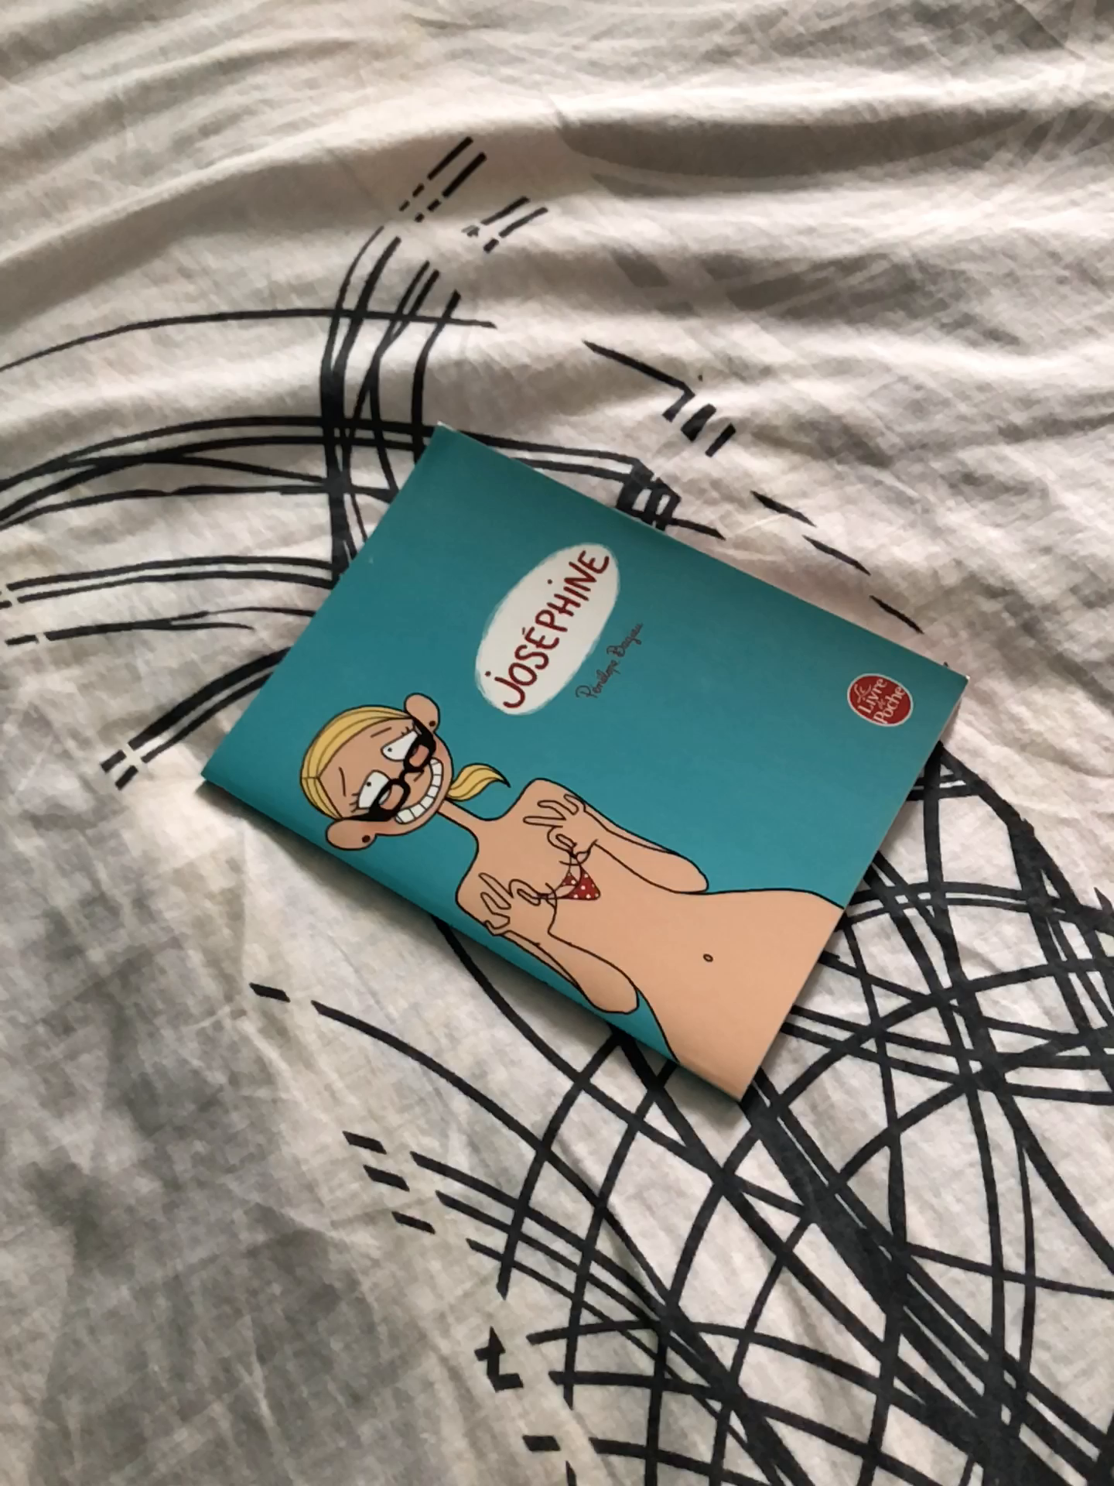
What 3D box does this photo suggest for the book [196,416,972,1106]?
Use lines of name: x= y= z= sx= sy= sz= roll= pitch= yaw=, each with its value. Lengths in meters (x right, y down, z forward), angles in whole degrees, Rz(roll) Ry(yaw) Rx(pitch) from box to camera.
book: x=0.005 y=-0.005 z=0.376 sx=0.187 sy=0.014 sz=0.144 roll=29 pitch=77 yaw=17
